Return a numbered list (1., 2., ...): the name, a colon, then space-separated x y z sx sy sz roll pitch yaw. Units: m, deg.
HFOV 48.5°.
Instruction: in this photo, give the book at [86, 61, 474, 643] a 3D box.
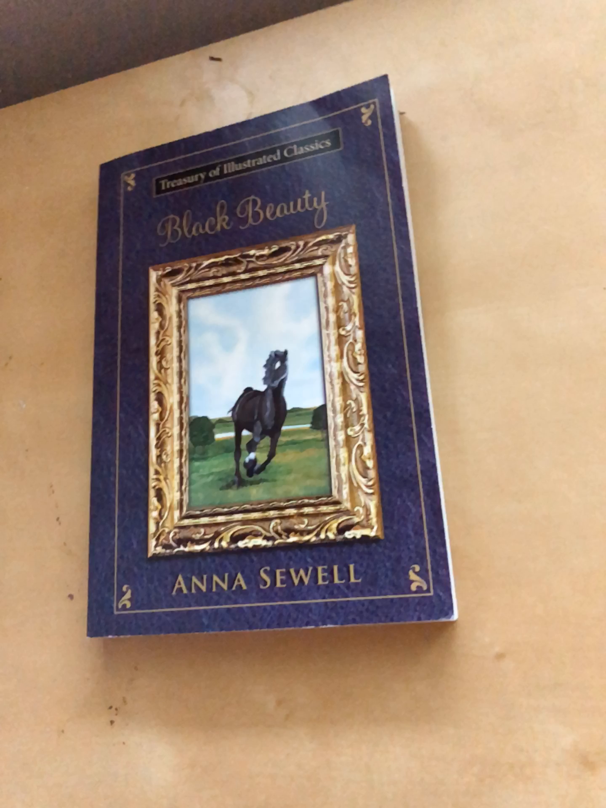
1. book: -0.015 -0.018 0.244 0.126 0.025 0.193 -8 74 17
